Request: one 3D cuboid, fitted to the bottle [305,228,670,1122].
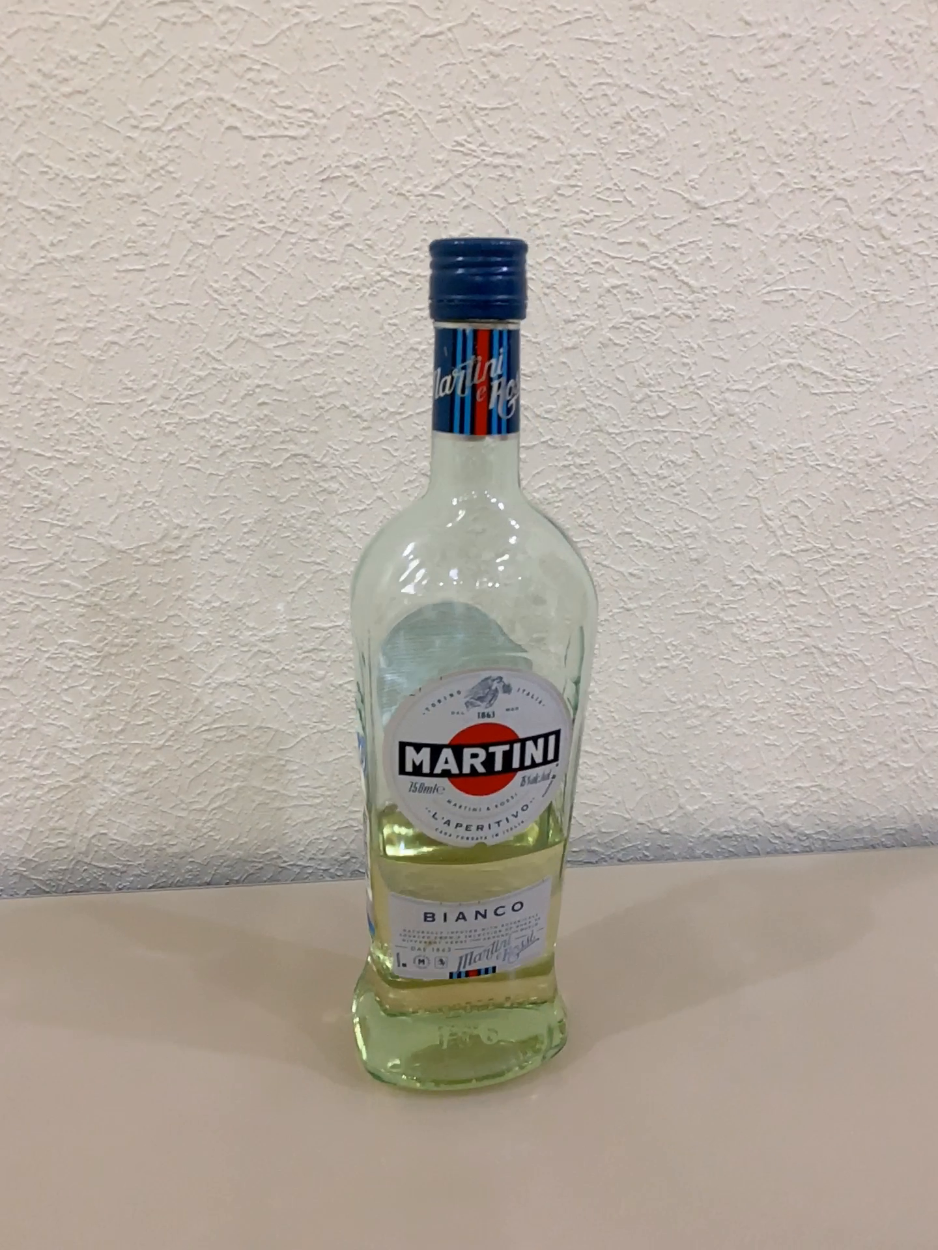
[{"bbox_3d":[-0.004,0.023,0.357,0.100,0.309,0.080,-3,20,-12],"label":"bottle"}]
